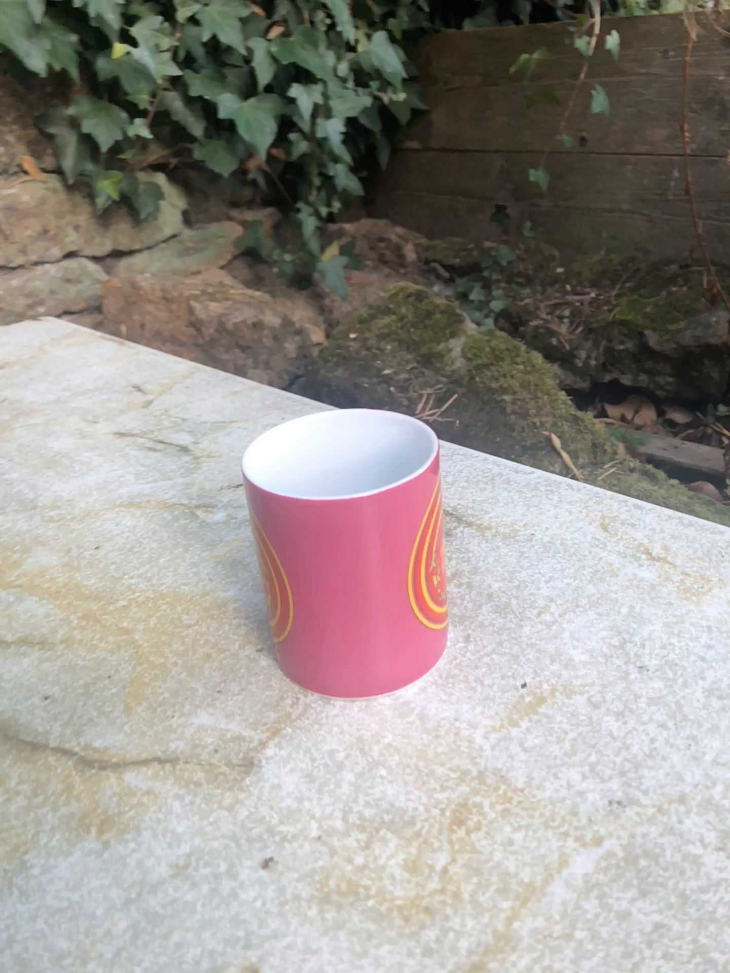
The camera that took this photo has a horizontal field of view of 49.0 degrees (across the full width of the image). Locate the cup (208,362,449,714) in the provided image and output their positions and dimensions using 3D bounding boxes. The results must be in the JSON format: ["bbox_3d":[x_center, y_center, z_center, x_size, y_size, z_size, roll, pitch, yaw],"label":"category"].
[{"bbox_3d":[-0.013,0.015,0.334,0.076,0.089,0.116,-6,30,-1],"label":"cup"}]
